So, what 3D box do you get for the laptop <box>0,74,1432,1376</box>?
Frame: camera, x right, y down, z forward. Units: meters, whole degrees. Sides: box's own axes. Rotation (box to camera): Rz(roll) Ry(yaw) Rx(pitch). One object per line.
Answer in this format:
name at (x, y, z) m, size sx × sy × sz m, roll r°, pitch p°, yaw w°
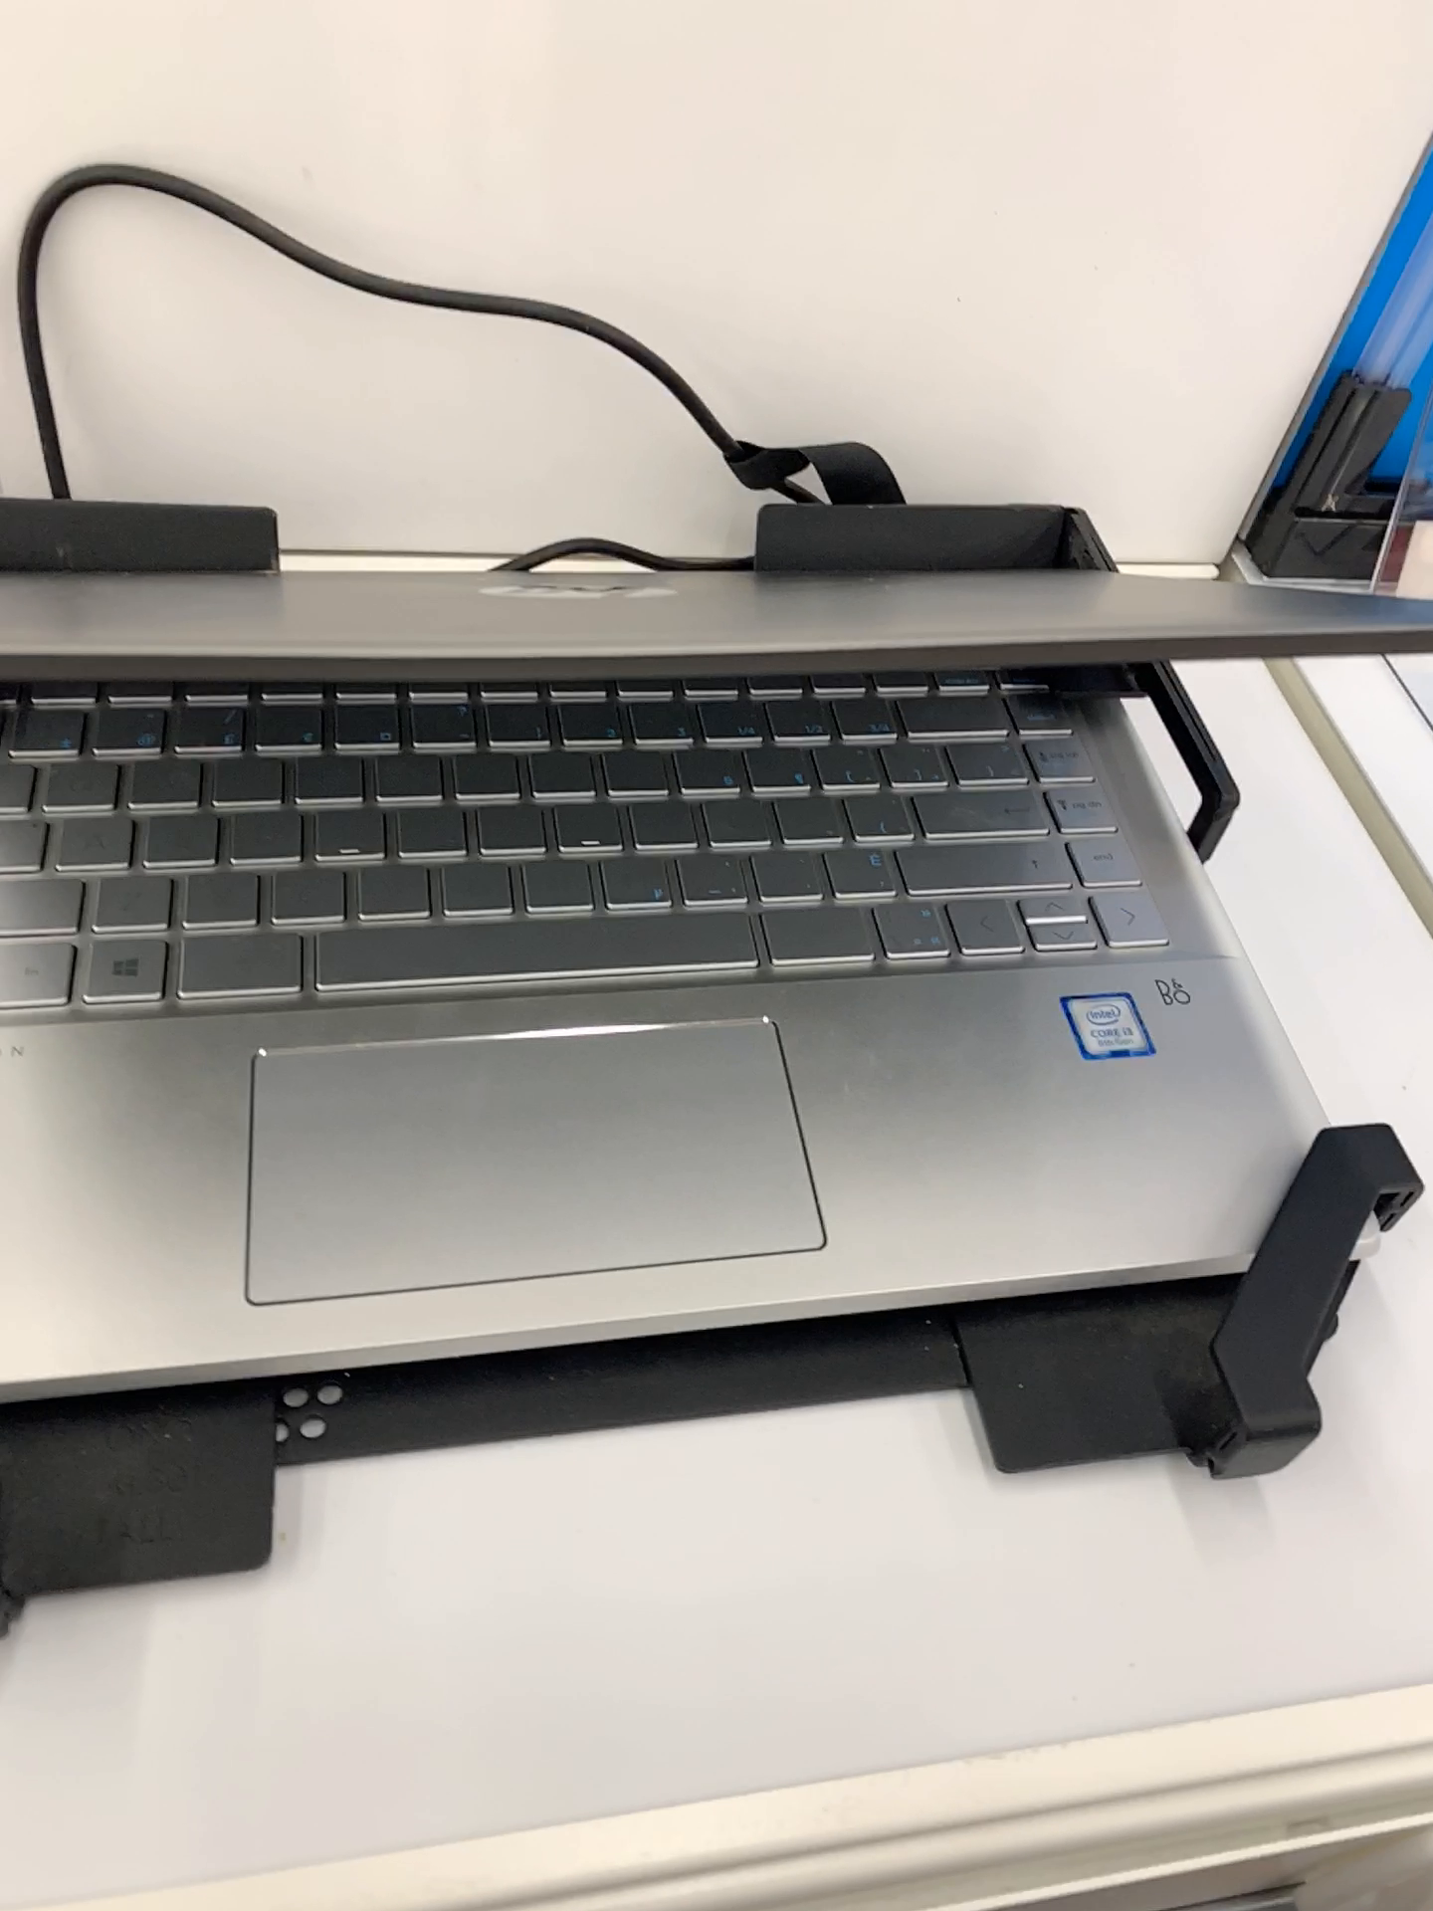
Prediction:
laptop at (-0.024, -0.050, 0.269) m, size 0.283 × 0.111 × 0.194 m, roll -3°, pitch 52°, yaw -10°
